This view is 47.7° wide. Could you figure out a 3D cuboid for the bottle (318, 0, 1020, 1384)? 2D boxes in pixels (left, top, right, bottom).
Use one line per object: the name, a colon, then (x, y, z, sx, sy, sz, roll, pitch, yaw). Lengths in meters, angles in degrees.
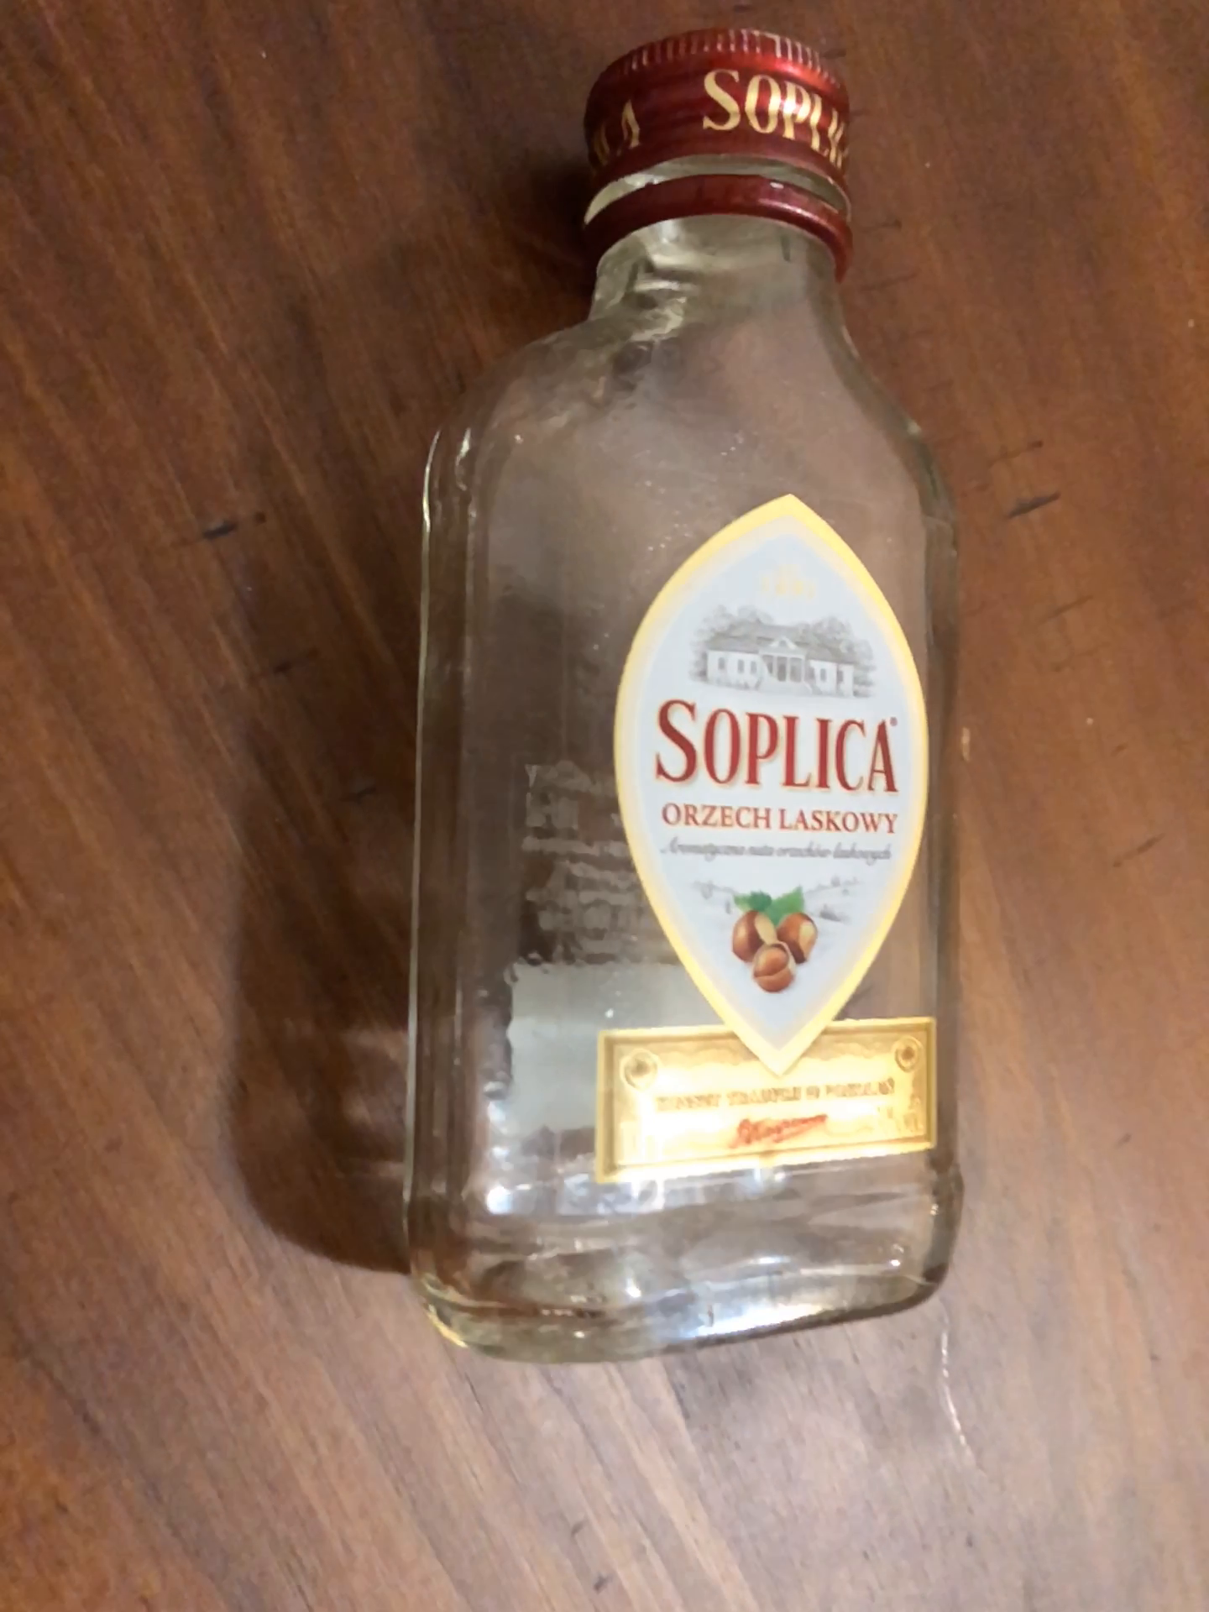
bottle: (0.008, -0.023, 0.153, 0.070, 0.030, 0.150, 2, 85, -29)
